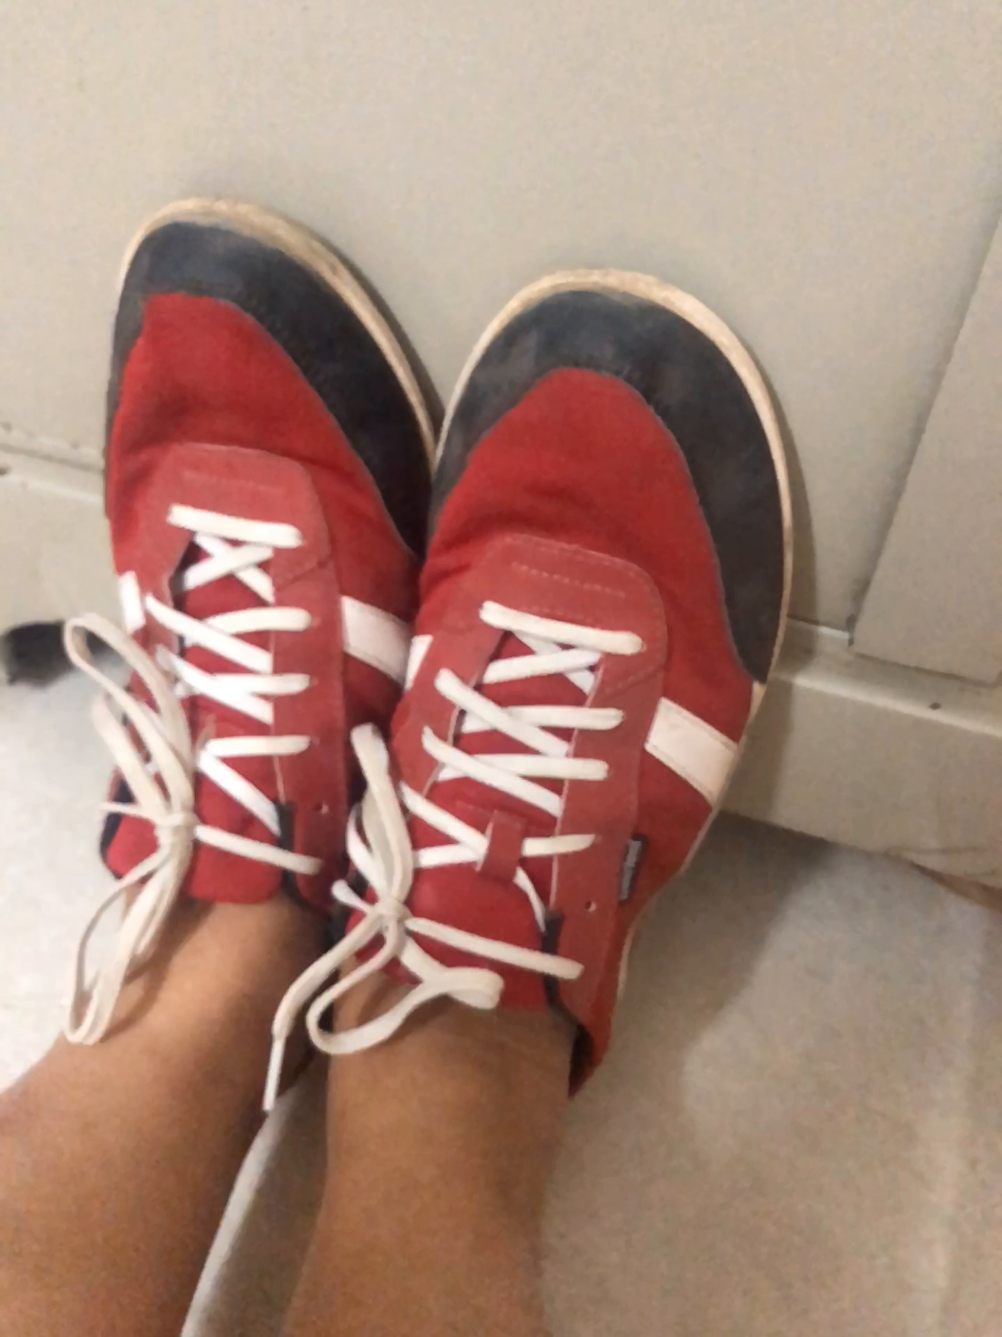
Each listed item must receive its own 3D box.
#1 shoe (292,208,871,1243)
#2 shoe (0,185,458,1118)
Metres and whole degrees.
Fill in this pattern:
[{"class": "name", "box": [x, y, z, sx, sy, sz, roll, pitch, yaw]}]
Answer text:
[{"class": "shoe", "box": [0.017, 0.016, 0.312, 0.100, 0.249, 0.080, 13, 20, 11]}, {"class": "shoe", "box": [-0.068, -0.003, 0.308, 0.100, 0.229, 0.080, 3, 18, 3]}]
